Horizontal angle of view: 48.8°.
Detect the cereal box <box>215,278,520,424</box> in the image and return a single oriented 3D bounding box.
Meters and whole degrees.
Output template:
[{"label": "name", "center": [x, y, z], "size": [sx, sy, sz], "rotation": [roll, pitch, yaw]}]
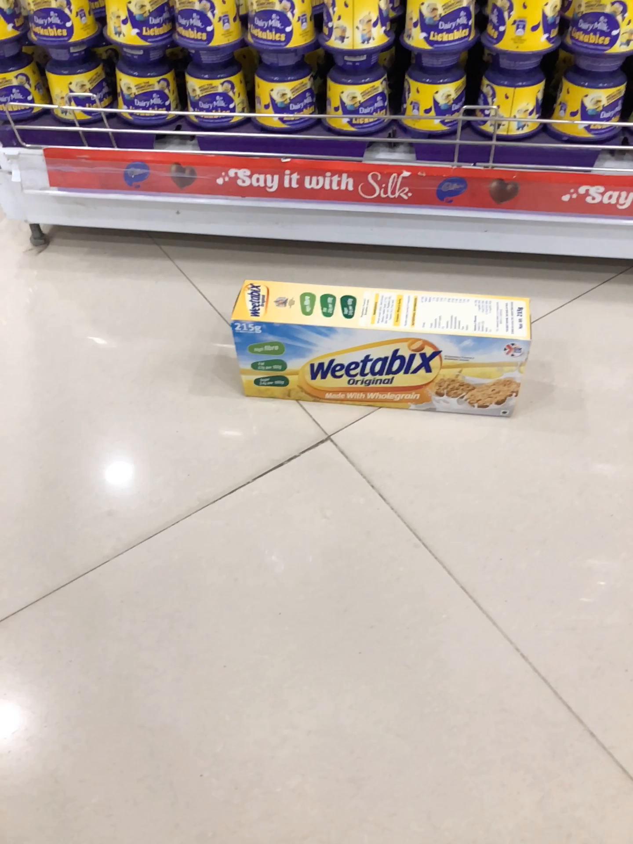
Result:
[{"label": "cereal box", "center": [0.045, -0.063, 0.627], "size": [0.250, 0.099, 0.060], "rotation": [5, 50, 8]}]
